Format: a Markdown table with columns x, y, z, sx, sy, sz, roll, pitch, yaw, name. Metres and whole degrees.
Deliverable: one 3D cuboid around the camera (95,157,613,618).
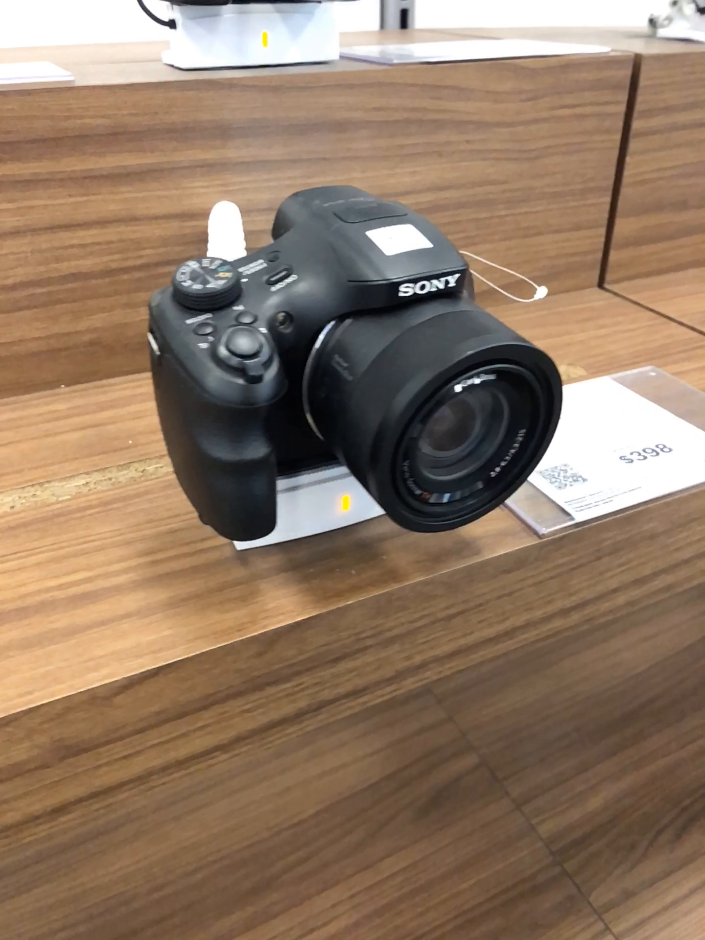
| x | y | z | sx | sy | sz | roll | pitch | yaw | name |
| --- | --- | --- | --- | --- | --- | --- | --- | --- | --- |
| -0.009 | -0.046 | 0.302 | 0.130 | 0.100 | 0.141 | -15 | 38 | -23 | camera |
